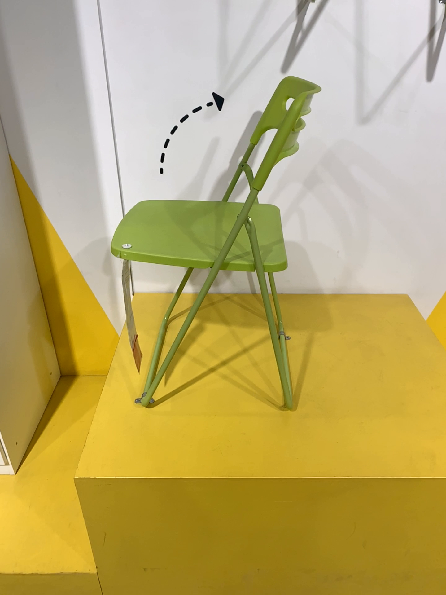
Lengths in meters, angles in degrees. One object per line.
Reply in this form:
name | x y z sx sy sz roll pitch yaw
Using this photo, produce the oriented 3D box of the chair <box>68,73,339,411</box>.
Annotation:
chair | -0.028 -0.147 1.144 0.460 0.717 0.452 1 30 1
